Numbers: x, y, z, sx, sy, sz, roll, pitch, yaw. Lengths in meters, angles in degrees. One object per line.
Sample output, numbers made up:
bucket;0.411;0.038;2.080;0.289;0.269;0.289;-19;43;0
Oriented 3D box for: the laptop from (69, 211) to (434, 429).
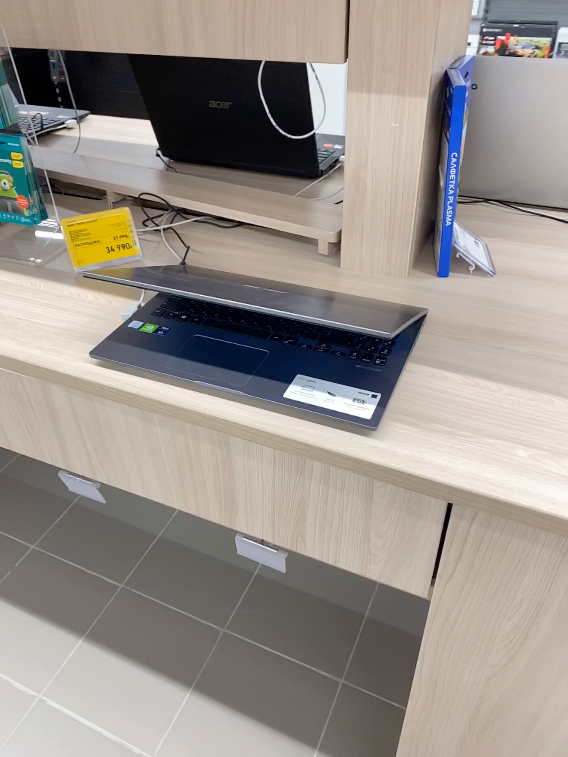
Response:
laptop;-0.027;-0.091;0.690;0.353;0.088;0.237;13;40;18
